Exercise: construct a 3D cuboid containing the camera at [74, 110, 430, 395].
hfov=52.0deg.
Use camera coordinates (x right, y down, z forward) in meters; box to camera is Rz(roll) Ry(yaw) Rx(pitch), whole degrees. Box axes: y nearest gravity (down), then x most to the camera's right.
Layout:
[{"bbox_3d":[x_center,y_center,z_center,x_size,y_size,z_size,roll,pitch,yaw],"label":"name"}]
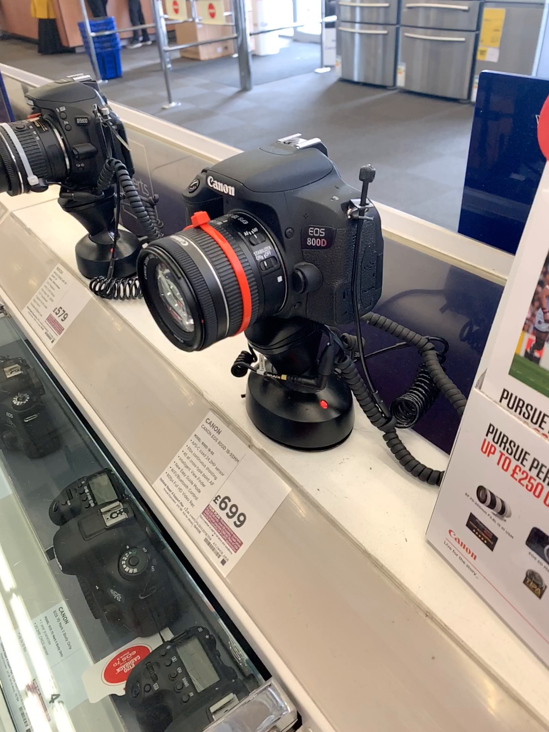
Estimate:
[{"bbox_3d":[-0.012,-0.081,0.338,0.141,0.089,0.141,-31,44,-31],"label":"camera"}]
